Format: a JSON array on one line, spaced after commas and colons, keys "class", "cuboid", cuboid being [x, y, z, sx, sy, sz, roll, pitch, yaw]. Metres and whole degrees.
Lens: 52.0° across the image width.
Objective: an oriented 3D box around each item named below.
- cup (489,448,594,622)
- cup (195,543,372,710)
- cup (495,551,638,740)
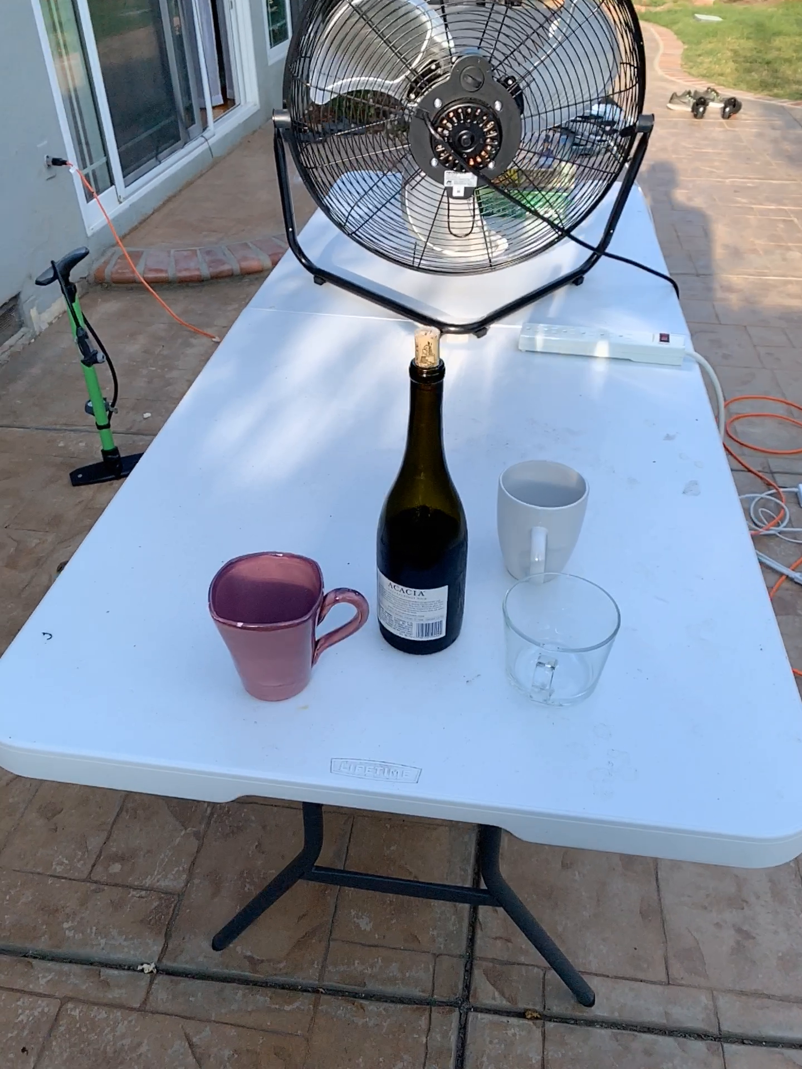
[{"class": "cup", "cuboid": [0.142, -0.002, 0.851, 0.090, 0.119, 0.131, 4, 38, 6]}, {"class": "cup", "cuboid": [-0.097, 0.080, 0.725, 0.130, 0.099, 0.101, 2, 38, 3]}, {"class": "cup", "cuboid": [0.147, 0.094, 0.722, 0.100, 0.080, 0.131, 9, 39, 13]}]
